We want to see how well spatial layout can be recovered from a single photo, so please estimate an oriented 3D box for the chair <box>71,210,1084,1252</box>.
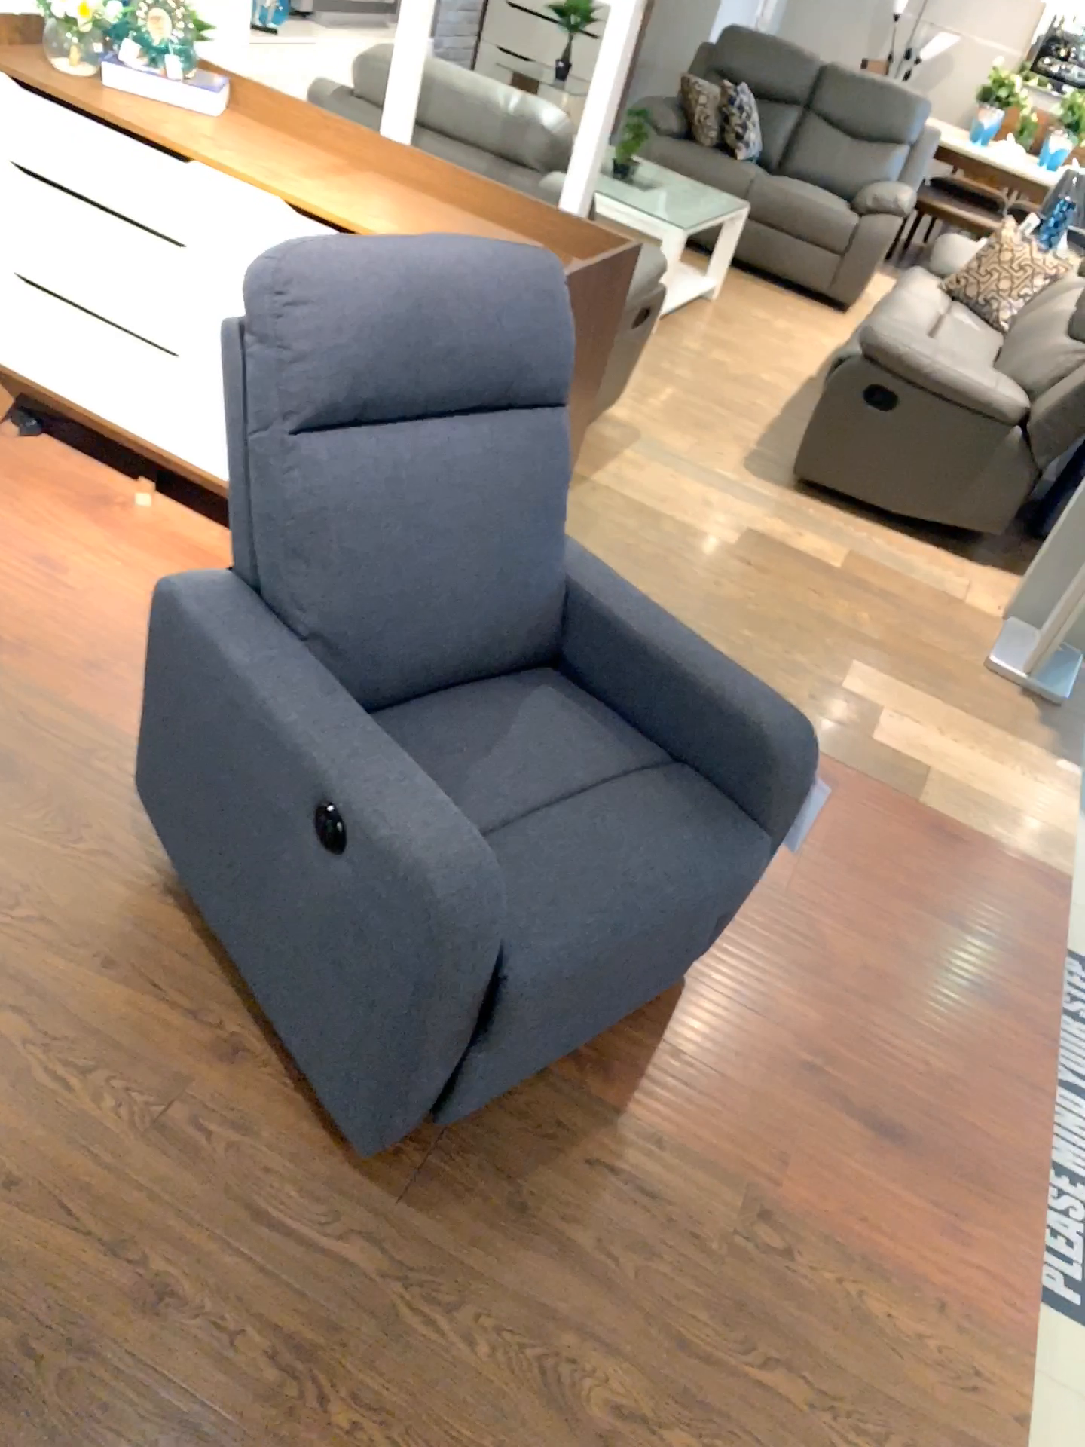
[{"bbox_3d":[-0.041,-0.077,1.638,0.933,0.966,0.882,-20,51,-40],"label":"chair"}]
